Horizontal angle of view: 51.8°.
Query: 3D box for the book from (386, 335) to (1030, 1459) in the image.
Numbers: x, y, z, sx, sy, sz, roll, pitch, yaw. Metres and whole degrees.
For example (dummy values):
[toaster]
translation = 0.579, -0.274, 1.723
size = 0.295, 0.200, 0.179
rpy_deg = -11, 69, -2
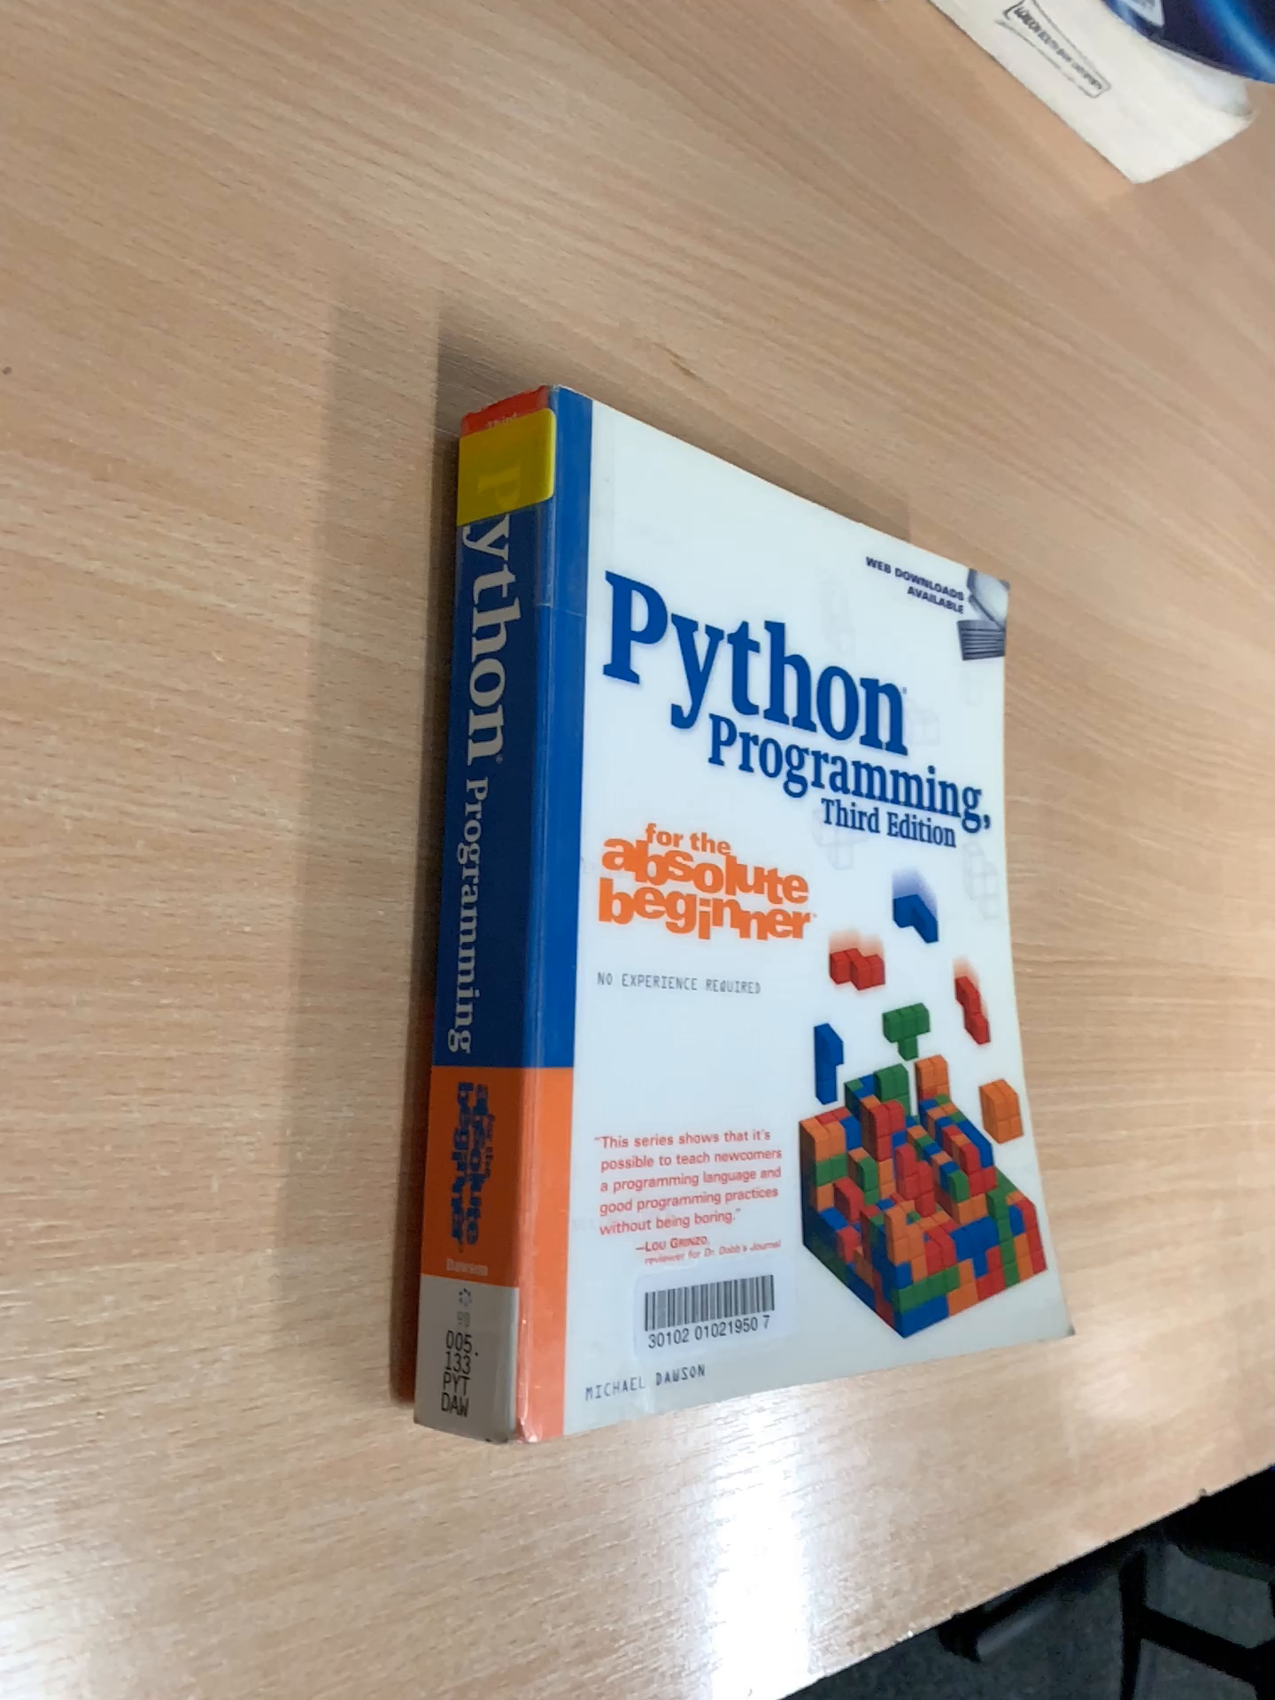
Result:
[book]
translation = 0.030, 0.014, 0.326
size = 0.175, 0.039, 0.219
rpy_deg = 9, 78, -41
